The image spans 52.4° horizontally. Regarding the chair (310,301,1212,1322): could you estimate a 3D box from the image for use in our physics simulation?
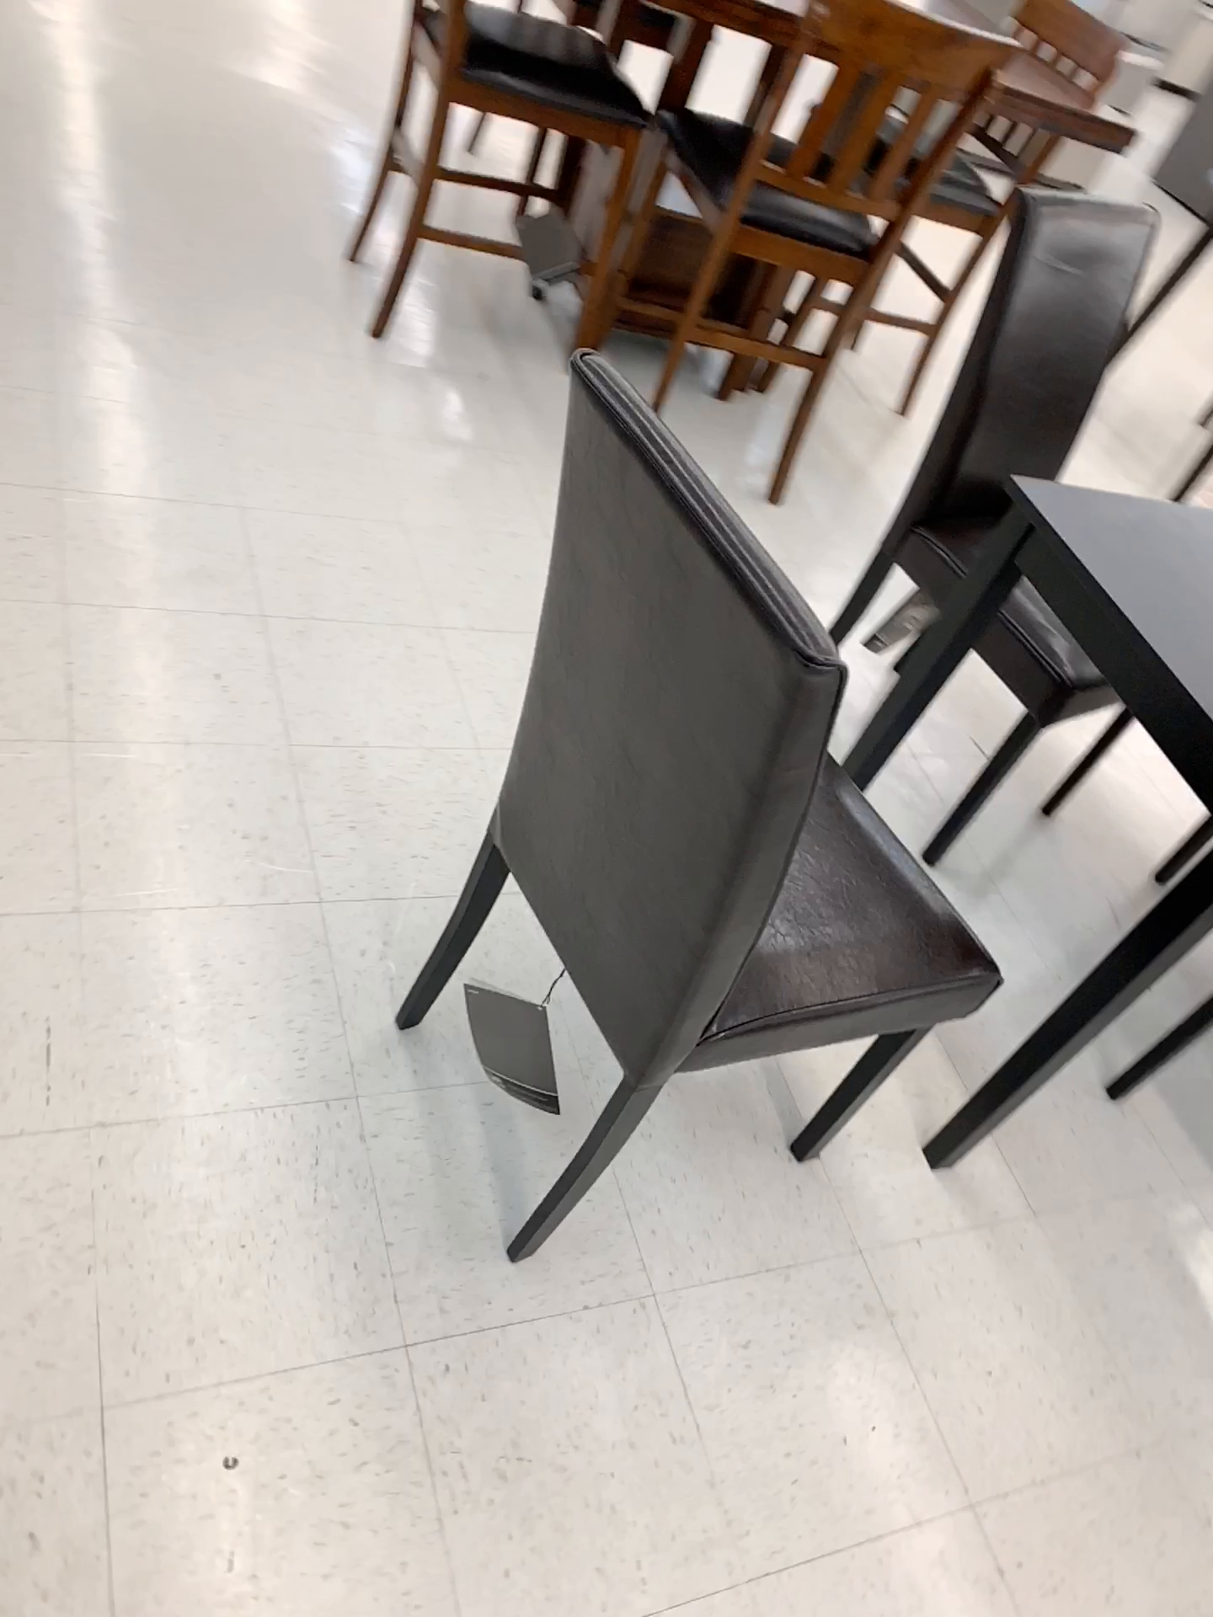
[{"bbox_3d":[0.122,0.044,1.287,0.596,0.930,0.425,-10,53,-33],"label":"chair"}]

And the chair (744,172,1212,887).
[{"bbox_3d":[0.736,-0.433,2.064,0.415,0.930,0.595,-15,56,-36],"label":"chair"}]

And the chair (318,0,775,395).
[{"bbox_3d":[-0.197,-1.531,2.675,0.645,1.010,0.466,3,47,-24],"label":"chair"}]

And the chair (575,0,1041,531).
[{"bbox_3d":[0.339,-1.226,2.614,0.464,0.980,0.647,8,45,-19],"label":"chair"}]

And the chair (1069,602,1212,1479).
[{"bbox_3d":[1.149,0.310,1.520,0.415,0.930,0.596,-2,49,-27],"label":"chair"}]

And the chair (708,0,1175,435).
[{"bbox_3d":[0.790,-1.573,3.156,0.645,0.980,0.466,5,46,-21],"label":"chair"}]
